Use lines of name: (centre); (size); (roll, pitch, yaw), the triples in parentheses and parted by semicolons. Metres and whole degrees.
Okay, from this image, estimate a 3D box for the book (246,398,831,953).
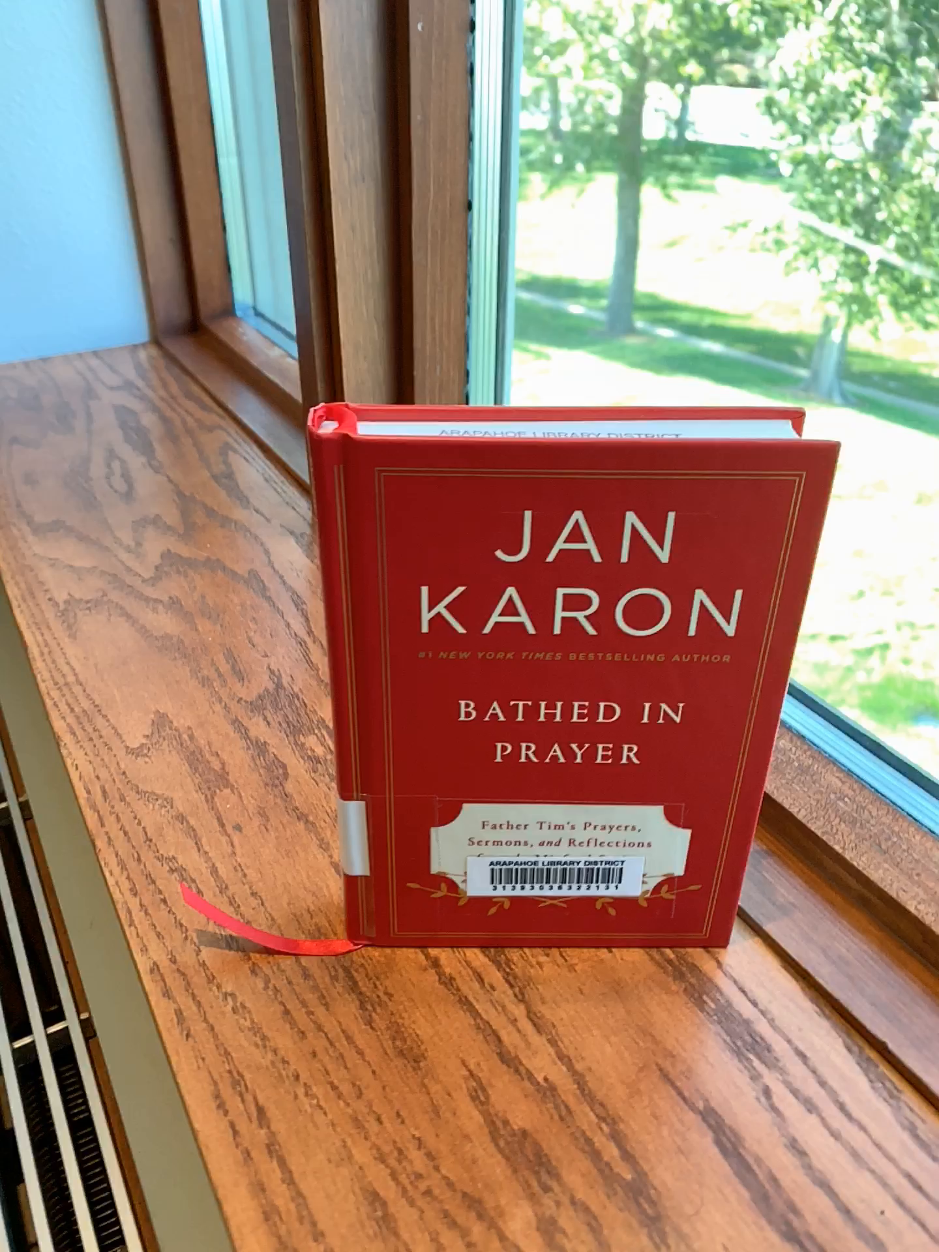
book: (0.015, 0.023, 0.278); (0.135, 0.169, 0.028); (0, 30, 0)
